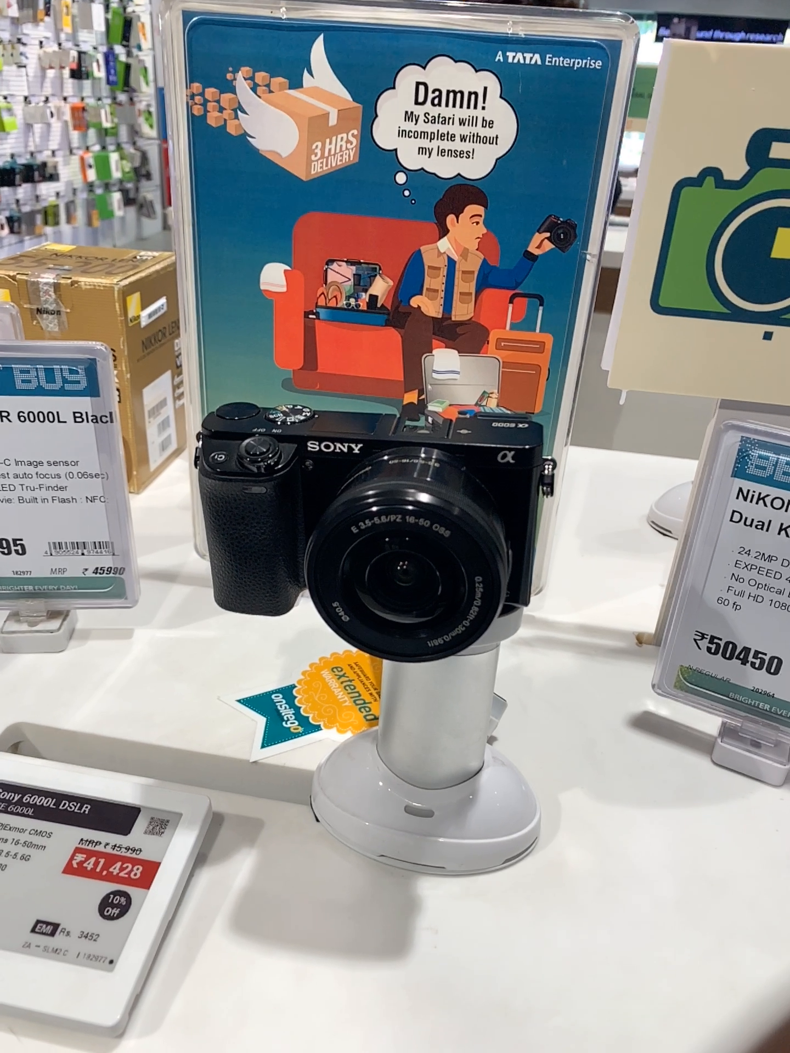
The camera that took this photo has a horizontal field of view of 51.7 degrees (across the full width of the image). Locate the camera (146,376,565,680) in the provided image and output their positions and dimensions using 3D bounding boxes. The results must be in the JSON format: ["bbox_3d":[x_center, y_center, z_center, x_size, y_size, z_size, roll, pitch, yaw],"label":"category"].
[{"bbox_3d":[-0.012,-0.001,0.269,0.118,0.073,0.056,5,27,3],"label":"camera"}]
